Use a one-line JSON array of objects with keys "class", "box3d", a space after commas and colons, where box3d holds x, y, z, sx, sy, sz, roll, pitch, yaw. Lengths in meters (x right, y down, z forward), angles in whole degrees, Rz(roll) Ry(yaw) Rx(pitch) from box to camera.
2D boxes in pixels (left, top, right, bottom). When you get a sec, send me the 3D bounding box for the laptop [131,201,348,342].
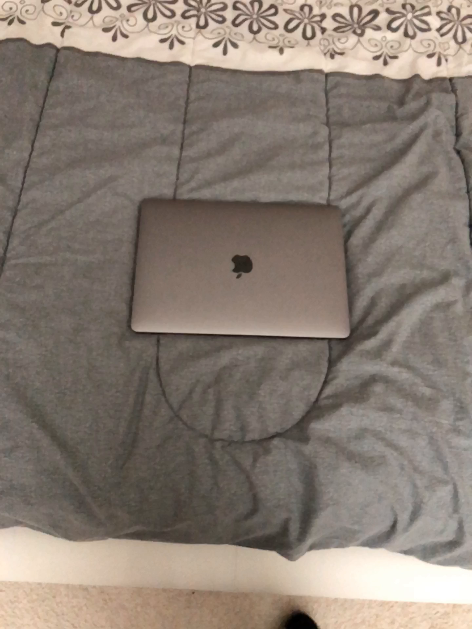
[{"class": "laptop", "box3d": [0.007, -0.065, 0.751, 0.295, 0.008, 0.207, 2, 70, -3]}]
